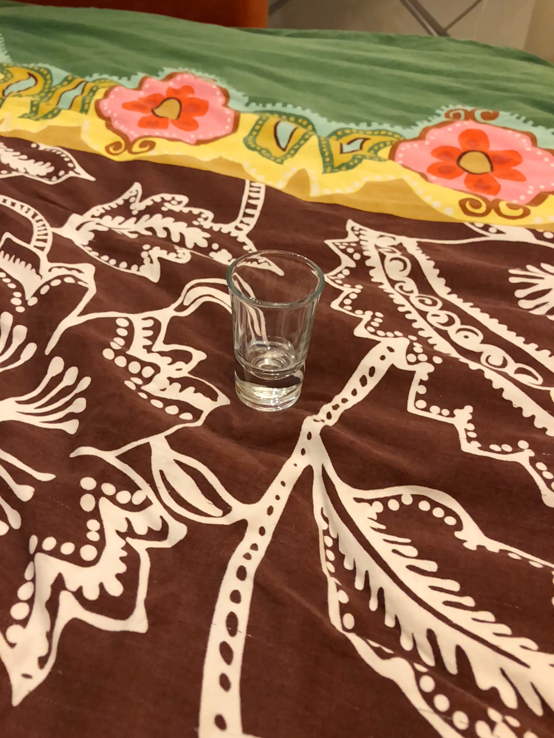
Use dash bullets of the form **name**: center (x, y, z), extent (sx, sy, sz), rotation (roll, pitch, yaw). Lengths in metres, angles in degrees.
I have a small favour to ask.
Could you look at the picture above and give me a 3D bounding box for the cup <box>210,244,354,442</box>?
- **cup**: center (0.000, -0.012, 0.284), extent (0.042, 0.069, 0.045), rotation (4, 39, -3)
